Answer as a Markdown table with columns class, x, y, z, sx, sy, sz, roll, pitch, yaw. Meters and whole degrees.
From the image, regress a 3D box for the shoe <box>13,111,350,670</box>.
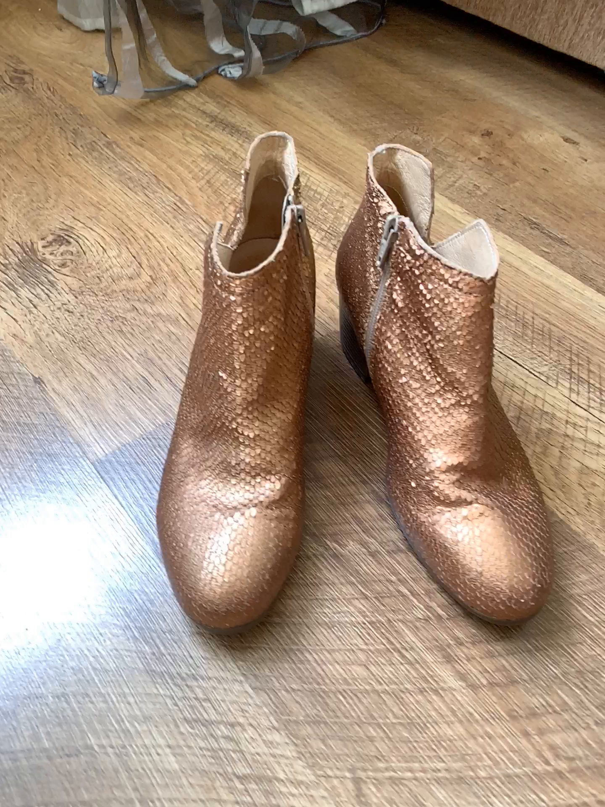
| class | x | y | z | sx | sy | sz | roll | pitch | yaw |
| --- | --- | --- | --- | --- | --- | --- | --- | --- | --- |
| shoe | -0.031 | -0.016 | 0.288 | 0.080 | 0.129 | 0.221 | 6 | 50 | 2 |

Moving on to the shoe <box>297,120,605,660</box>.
| class | x | y | z | sx | sy | sz | roll | pitch | yaw |
| --- | --- | --- | --- | --- | --- | --- | --- | --- | --- |
| shoe | 0.070 | -0.018 | 0.302 | 0.080 | 0.129 | 0.221 | -11 | 52 | -13 |
